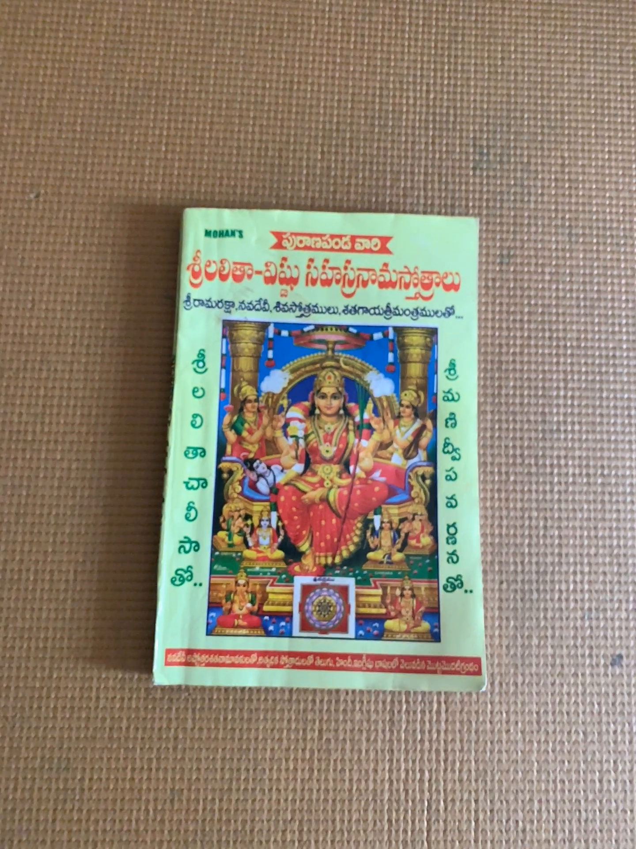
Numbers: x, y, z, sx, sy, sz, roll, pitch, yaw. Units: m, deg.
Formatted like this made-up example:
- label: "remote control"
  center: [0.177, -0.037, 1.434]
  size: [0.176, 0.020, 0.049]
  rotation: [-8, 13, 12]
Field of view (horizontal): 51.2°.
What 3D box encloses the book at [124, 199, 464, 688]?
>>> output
- label: "book"
  center: [-0.007, 0.005, 0.298]
  size: [0.140, 0.020, 0.210]
  rotation: [2, 81, -2]
